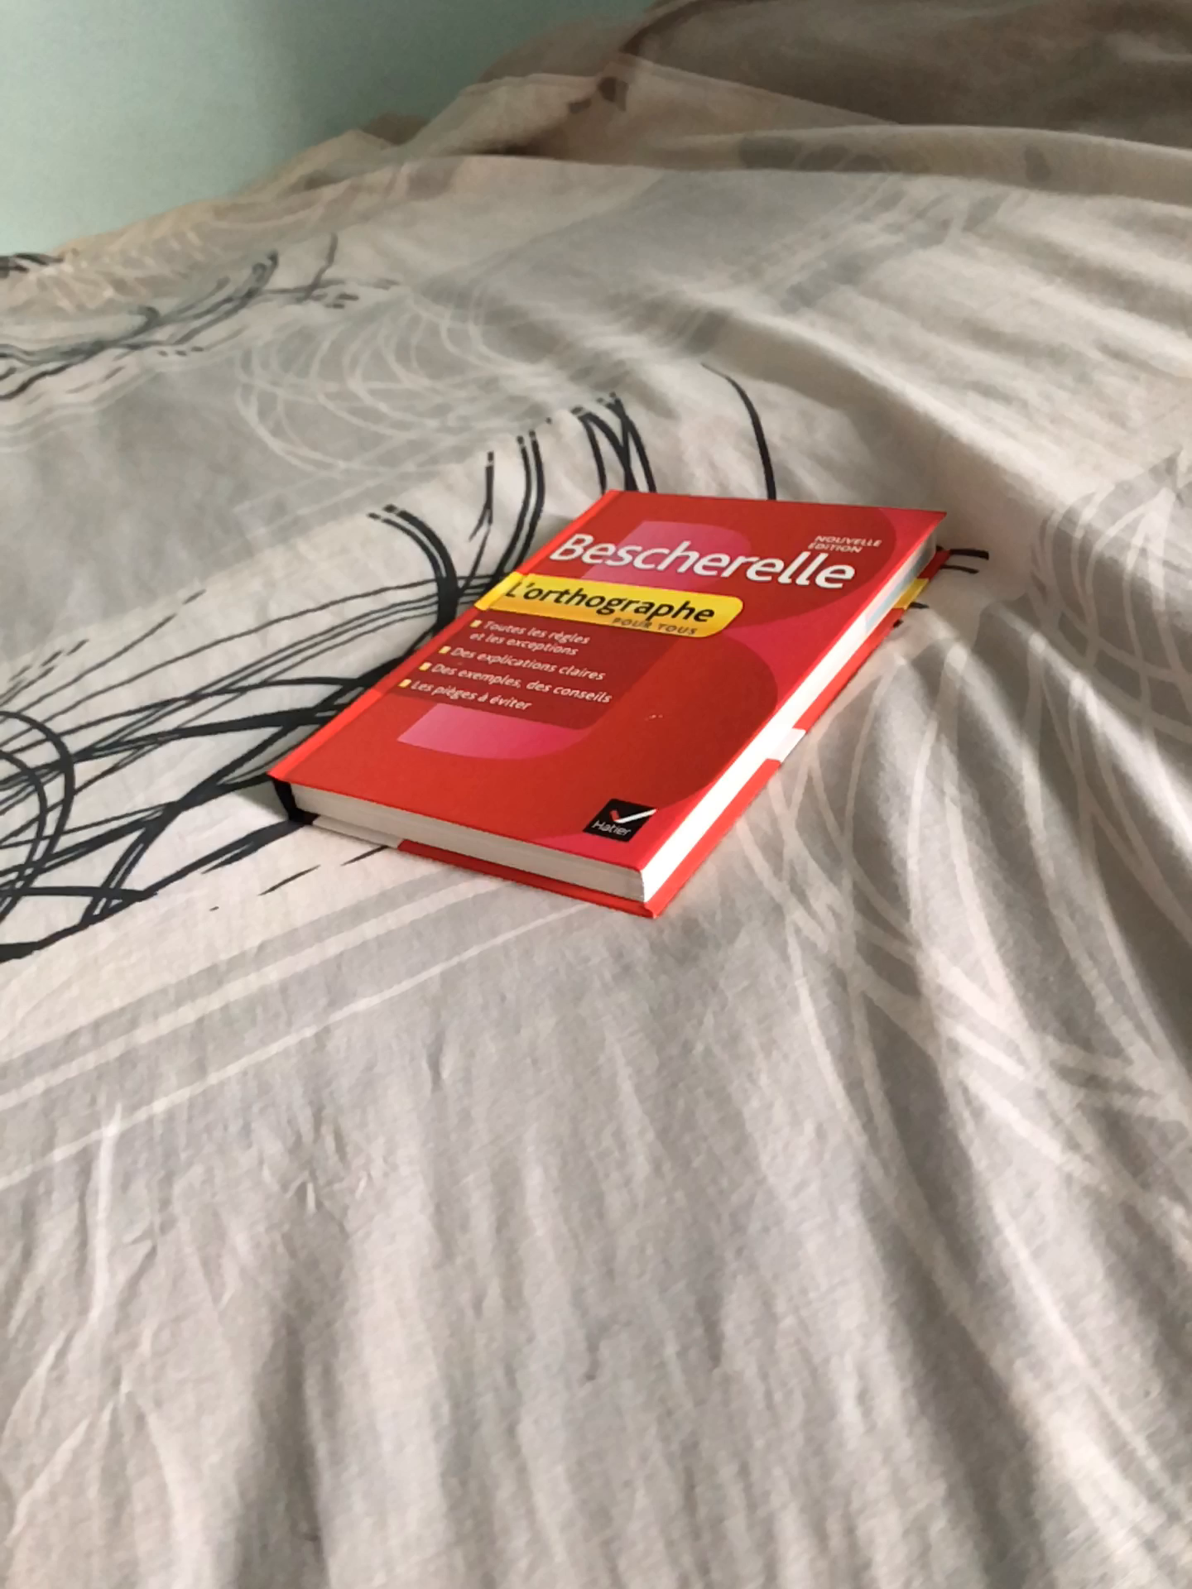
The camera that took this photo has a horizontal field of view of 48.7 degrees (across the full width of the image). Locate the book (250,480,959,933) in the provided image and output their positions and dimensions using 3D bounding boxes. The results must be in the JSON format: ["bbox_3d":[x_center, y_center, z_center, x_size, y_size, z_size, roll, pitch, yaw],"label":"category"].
[{"bbox_3d":[0.008,-0.043,0.413,0.143,0.023,0.190,11,44,35],"label":"book"}]
